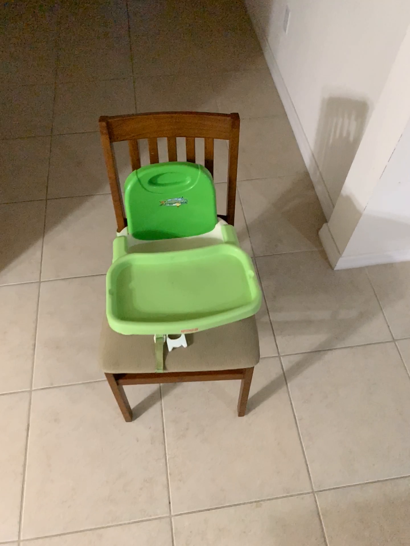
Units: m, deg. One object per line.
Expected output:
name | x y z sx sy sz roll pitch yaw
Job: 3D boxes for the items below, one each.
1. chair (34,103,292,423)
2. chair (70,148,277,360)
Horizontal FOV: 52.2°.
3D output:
chair | -0.088 0.053 1.262 0.454 0.884 0.559 -2 58 -2
chair | -0.080 -0.043 1.057 0.404 0.328 0.387 -5 58 -4
